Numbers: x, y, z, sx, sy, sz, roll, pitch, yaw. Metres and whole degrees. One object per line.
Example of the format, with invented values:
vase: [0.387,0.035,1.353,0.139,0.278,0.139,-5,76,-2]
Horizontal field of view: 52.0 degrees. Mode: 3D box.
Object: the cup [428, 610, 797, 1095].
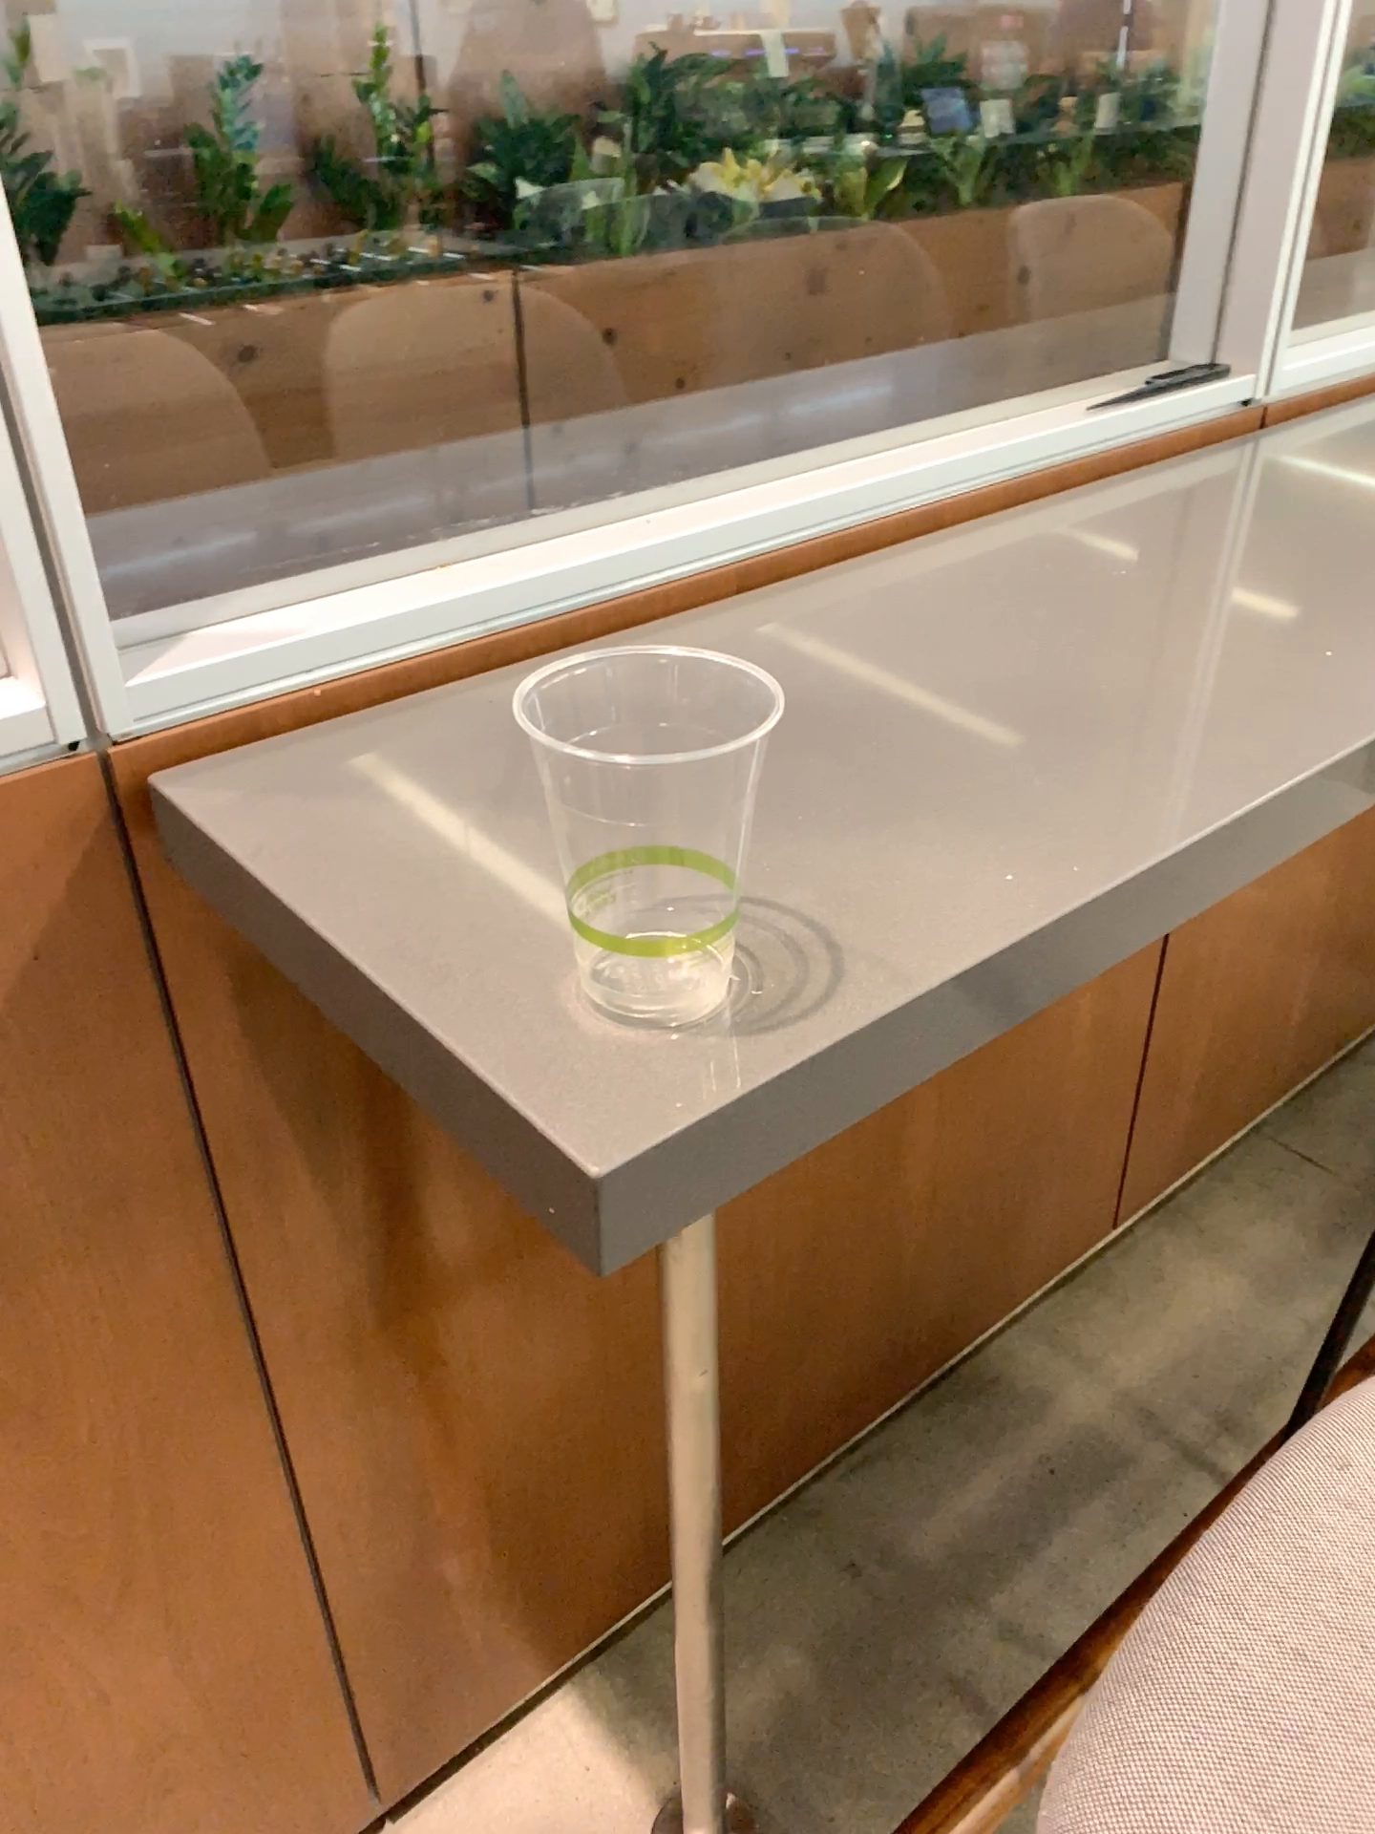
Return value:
cup: [-0.025,-0.027,0.511,0.090,0.129,0.090,-1,32,0]
